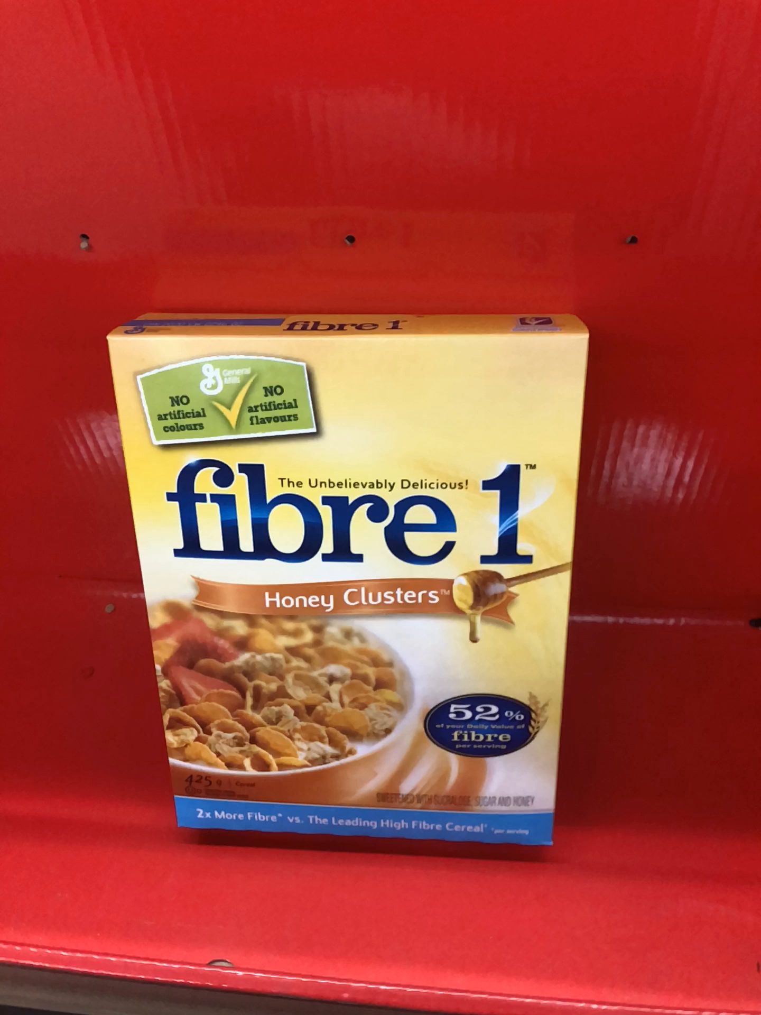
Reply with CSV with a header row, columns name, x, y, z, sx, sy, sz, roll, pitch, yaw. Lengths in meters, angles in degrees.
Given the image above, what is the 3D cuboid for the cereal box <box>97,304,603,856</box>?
name,x,y,z,sx,sy,sz,roll,pitch,yaw
cereal box,-0.010,0.040,0.422,0.210,0.269,0.060,1,21,6
